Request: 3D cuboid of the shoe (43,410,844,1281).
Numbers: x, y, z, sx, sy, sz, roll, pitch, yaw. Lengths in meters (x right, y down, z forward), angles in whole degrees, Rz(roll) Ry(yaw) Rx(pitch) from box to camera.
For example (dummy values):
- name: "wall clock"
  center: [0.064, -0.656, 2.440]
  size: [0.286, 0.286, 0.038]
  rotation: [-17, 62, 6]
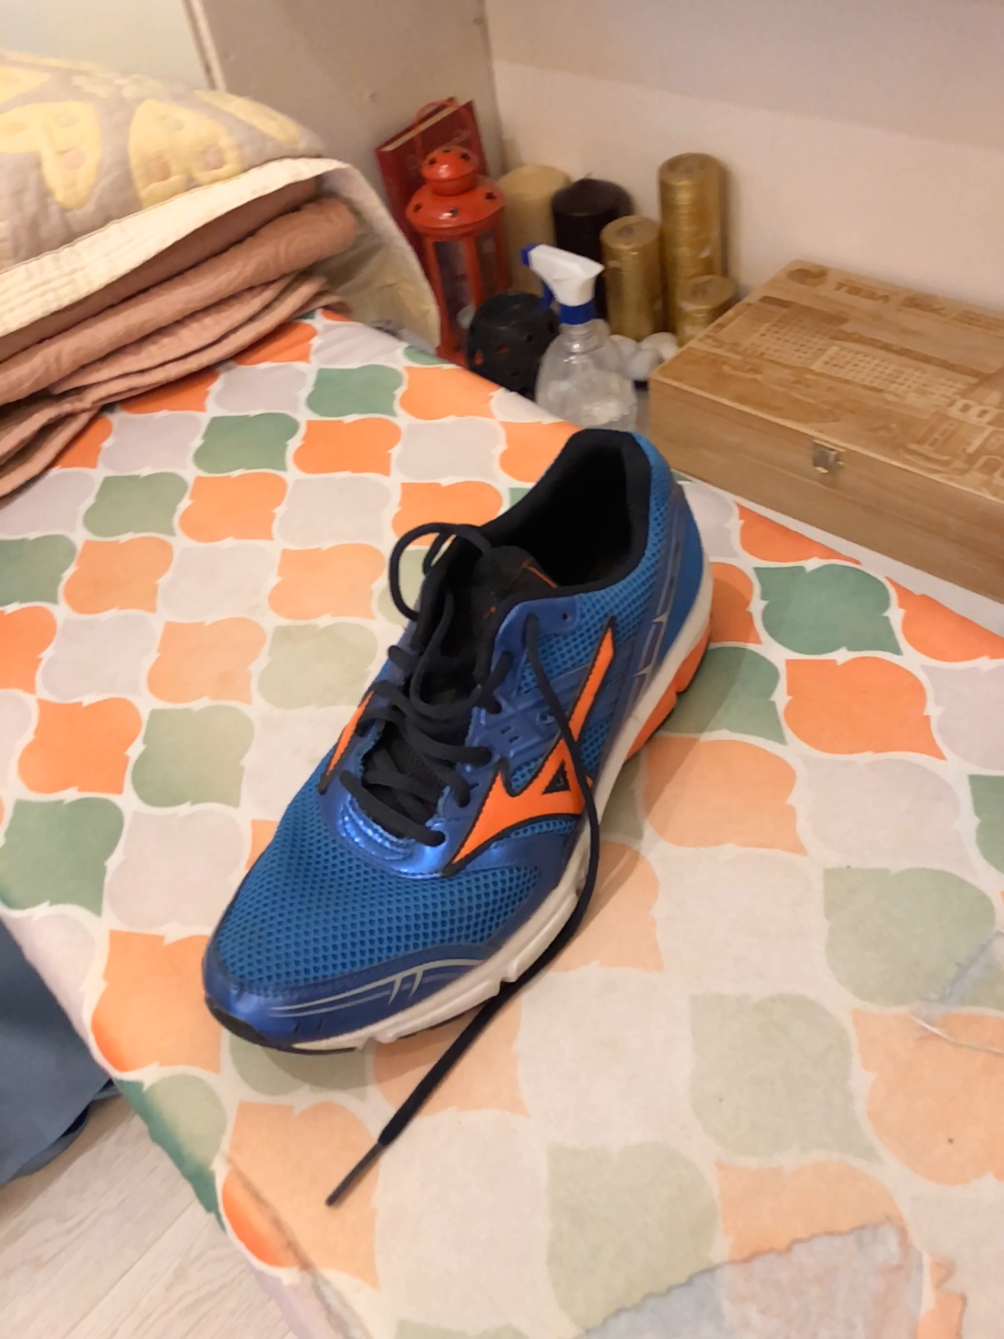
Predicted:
- name: "shoe"
  center: [0.004, 0.044, 0.428]
  size: [0.120, 0.109, 0.311]
  rotation: [25, 57, 29]
